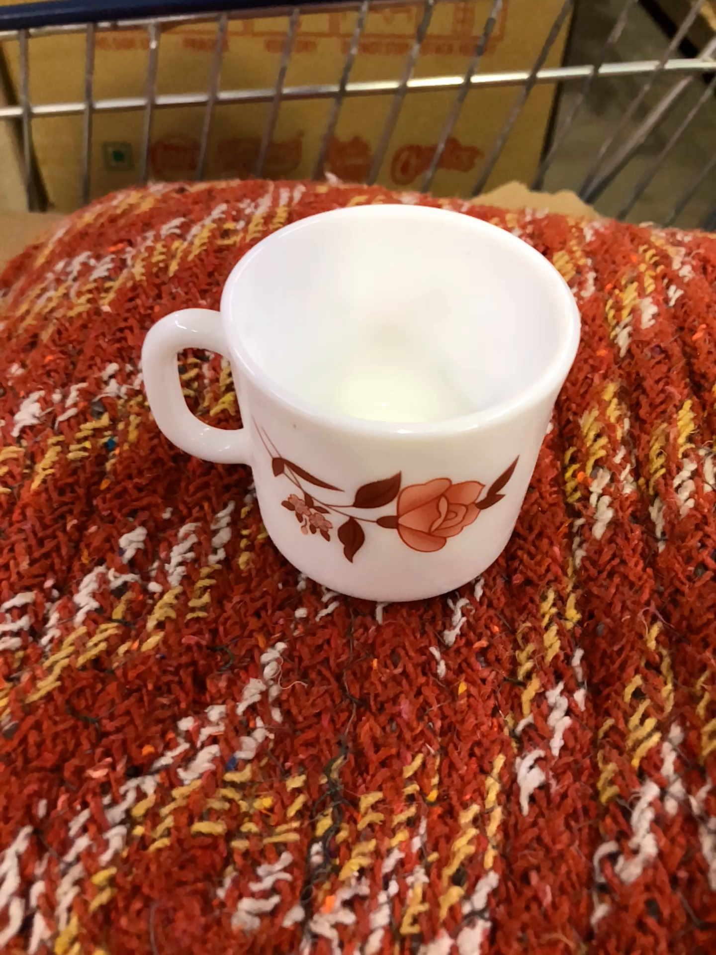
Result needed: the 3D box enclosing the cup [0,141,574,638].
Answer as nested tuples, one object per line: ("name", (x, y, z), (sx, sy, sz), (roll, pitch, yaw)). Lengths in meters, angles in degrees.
("cup", (-0.011, -0.017, 0.154), (0.090, 0.060, 0.060), (7, 49, 5))
